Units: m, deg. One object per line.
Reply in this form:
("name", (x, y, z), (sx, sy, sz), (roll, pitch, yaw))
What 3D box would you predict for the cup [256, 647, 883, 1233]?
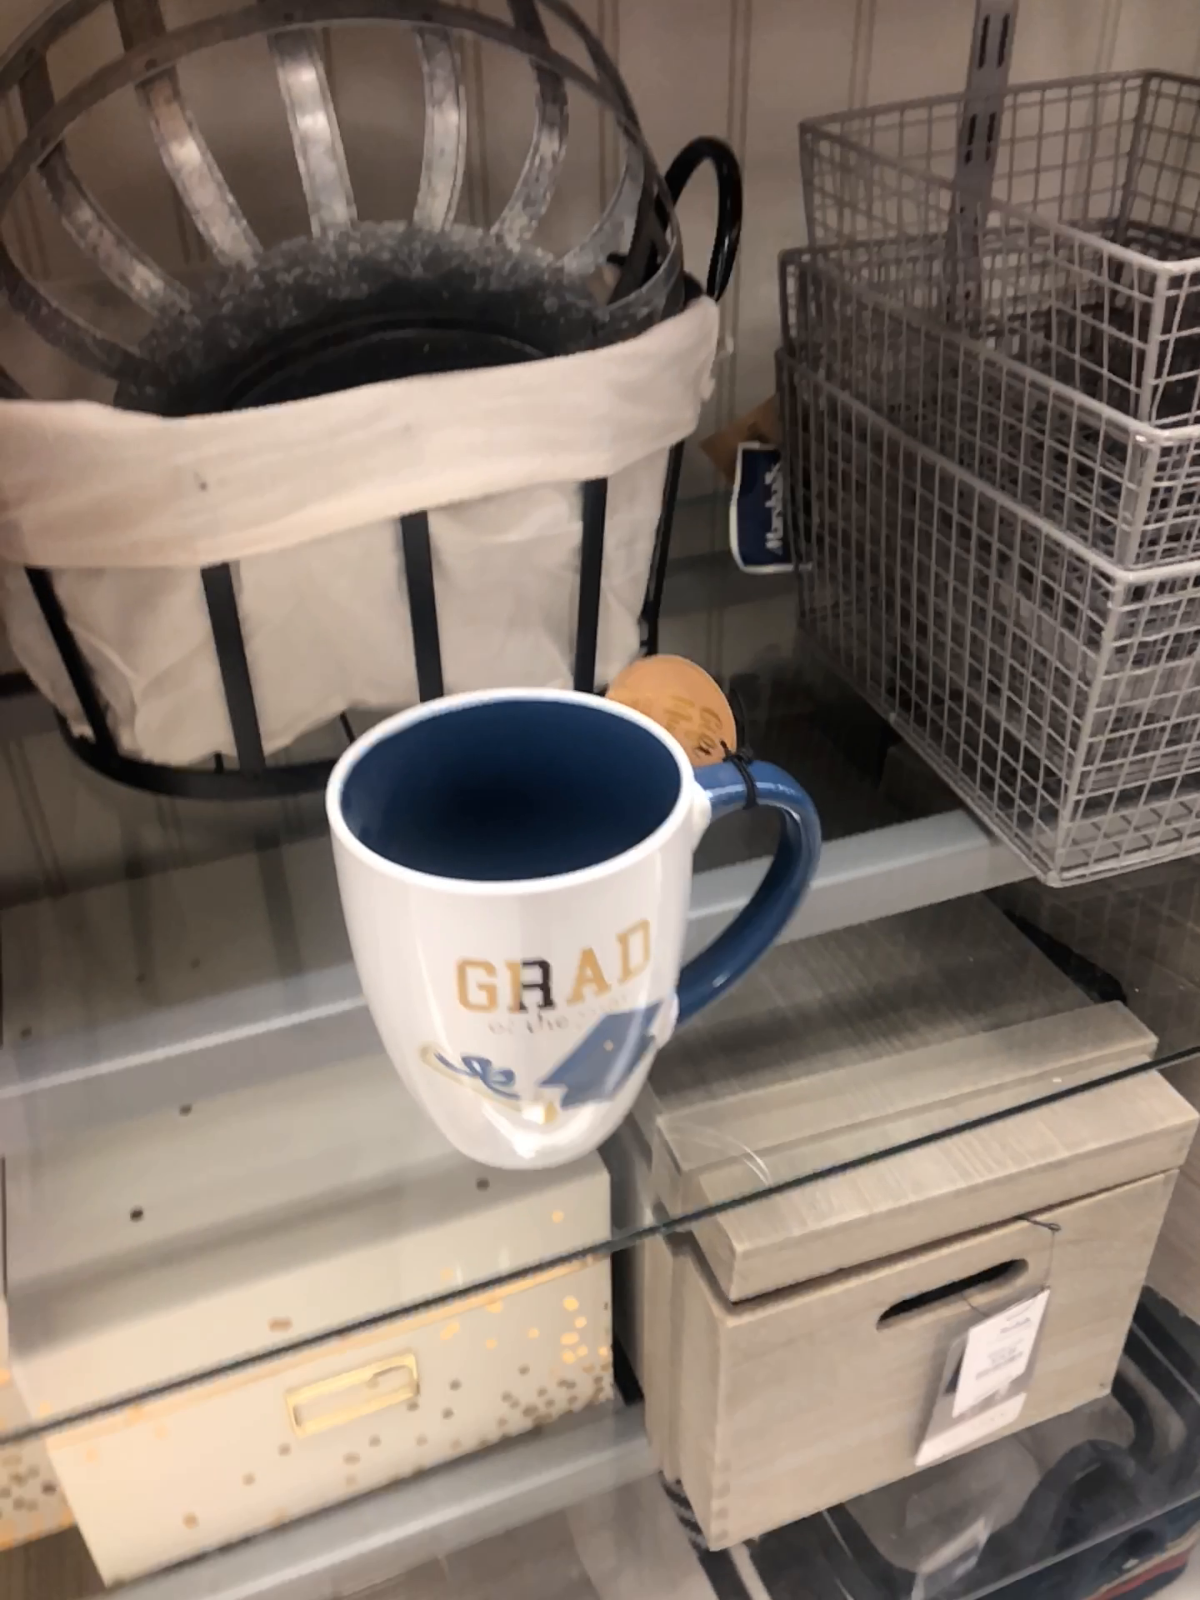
("cup", (-0.014, 0.034, 0.402), (0.150, 0.096, 0.116), (-11, 35, -15))
